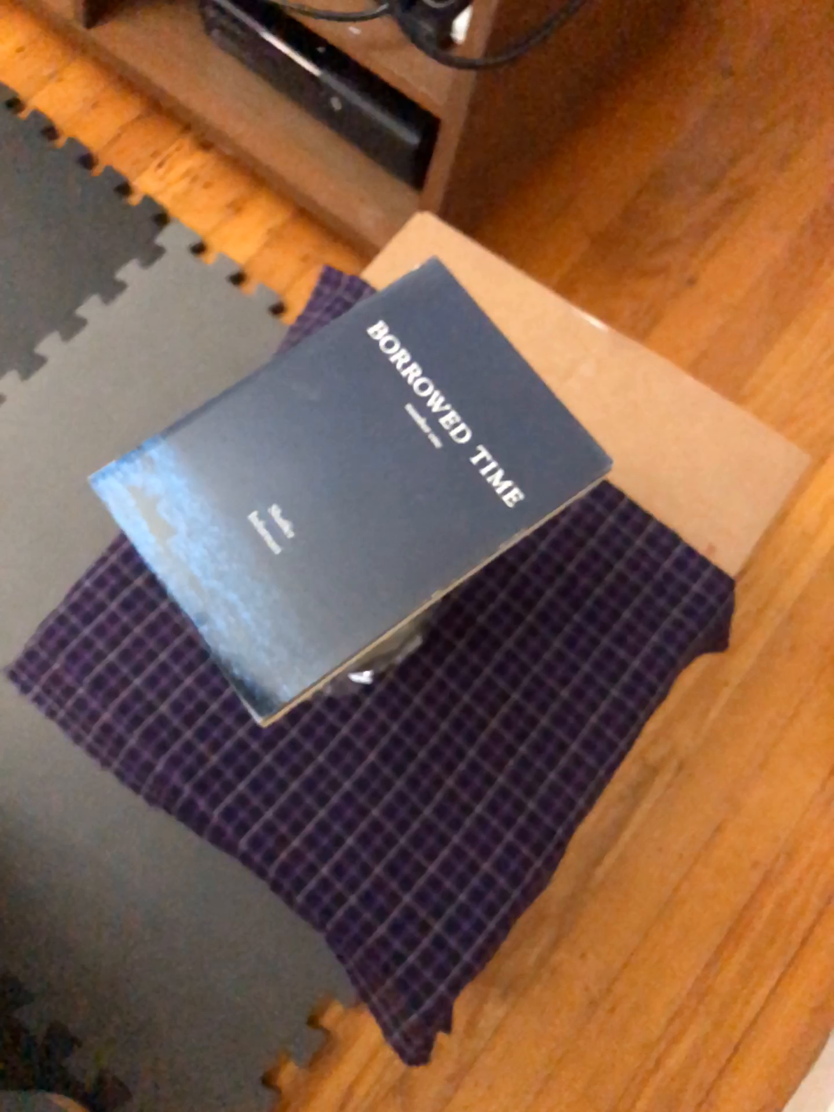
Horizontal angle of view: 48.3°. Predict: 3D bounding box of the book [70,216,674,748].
[{"bbox_3d":[-0.018,-0.046,0.436,0.230,0.010,0.160,-35,78,-13],"label":"book"}]
